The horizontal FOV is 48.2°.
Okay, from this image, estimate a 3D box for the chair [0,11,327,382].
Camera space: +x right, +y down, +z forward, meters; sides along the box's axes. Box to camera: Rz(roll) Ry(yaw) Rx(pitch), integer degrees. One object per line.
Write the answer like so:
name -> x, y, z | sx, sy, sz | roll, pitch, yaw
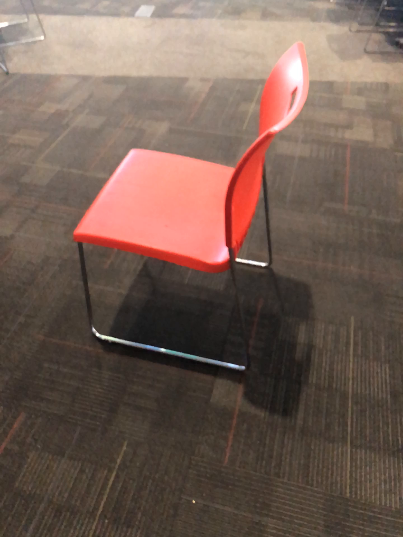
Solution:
chair -> -0.050, -0.194, 1.265 | 0.610, 0.766, 0.562 | 10, 45, 10
